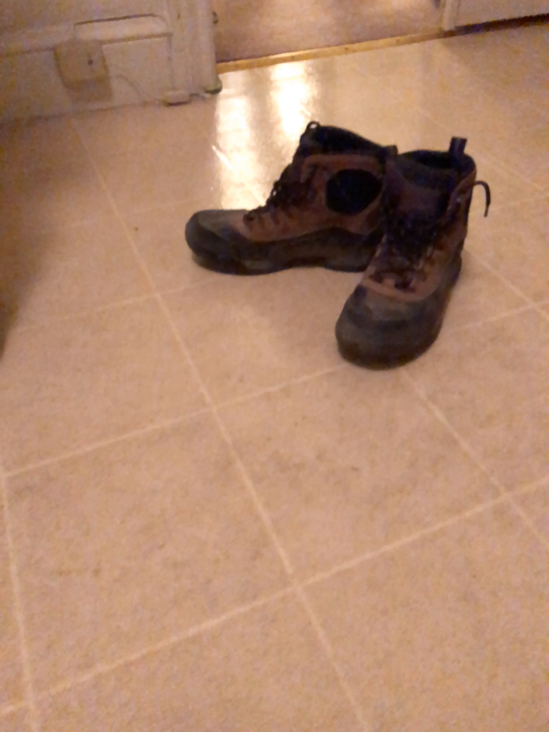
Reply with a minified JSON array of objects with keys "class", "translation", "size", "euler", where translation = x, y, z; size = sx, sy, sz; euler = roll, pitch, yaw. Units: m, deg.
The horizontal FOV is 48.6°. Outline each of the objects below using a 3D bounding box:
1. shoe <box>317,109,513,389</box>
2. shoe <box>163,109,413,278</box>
[{"class":"shoe","translation":[0.172,-0.153,0.734],"size":[0.122,0.185,0.301],"euler":[19,47,20]},{"class":"shoe","translation":[0.019,-0.230,0.817],"size":[0.292,0.185,0.114],"euler":[1,44,2]}]
